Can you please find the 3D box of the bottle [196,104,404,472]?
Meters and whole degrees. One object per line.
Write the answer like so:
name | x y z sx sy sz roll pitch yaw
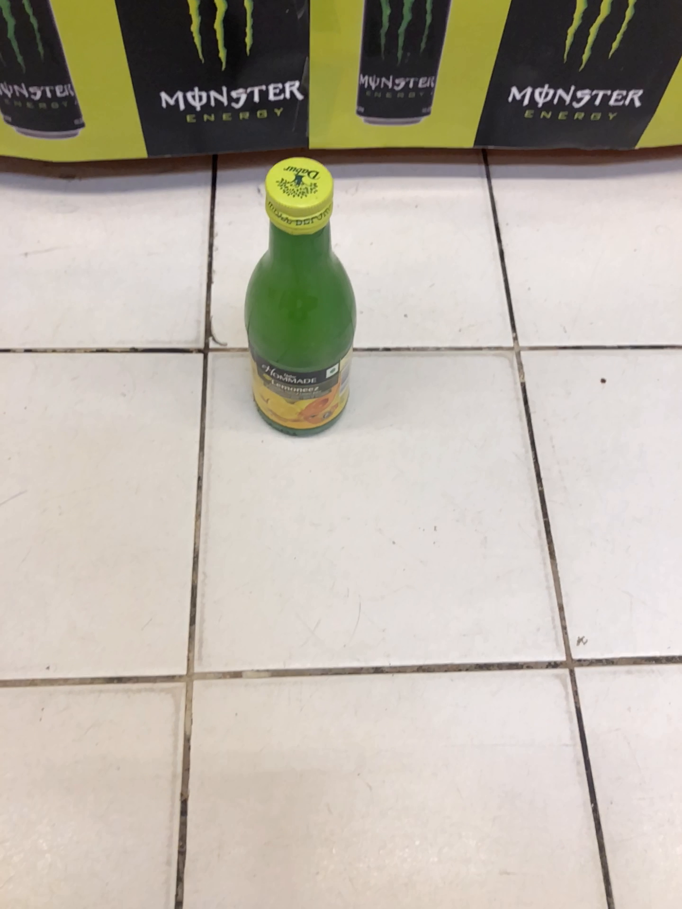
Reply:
bottle | -0.019 -0.068 0.378 0.070 0.179 0.070 2 62 -3
